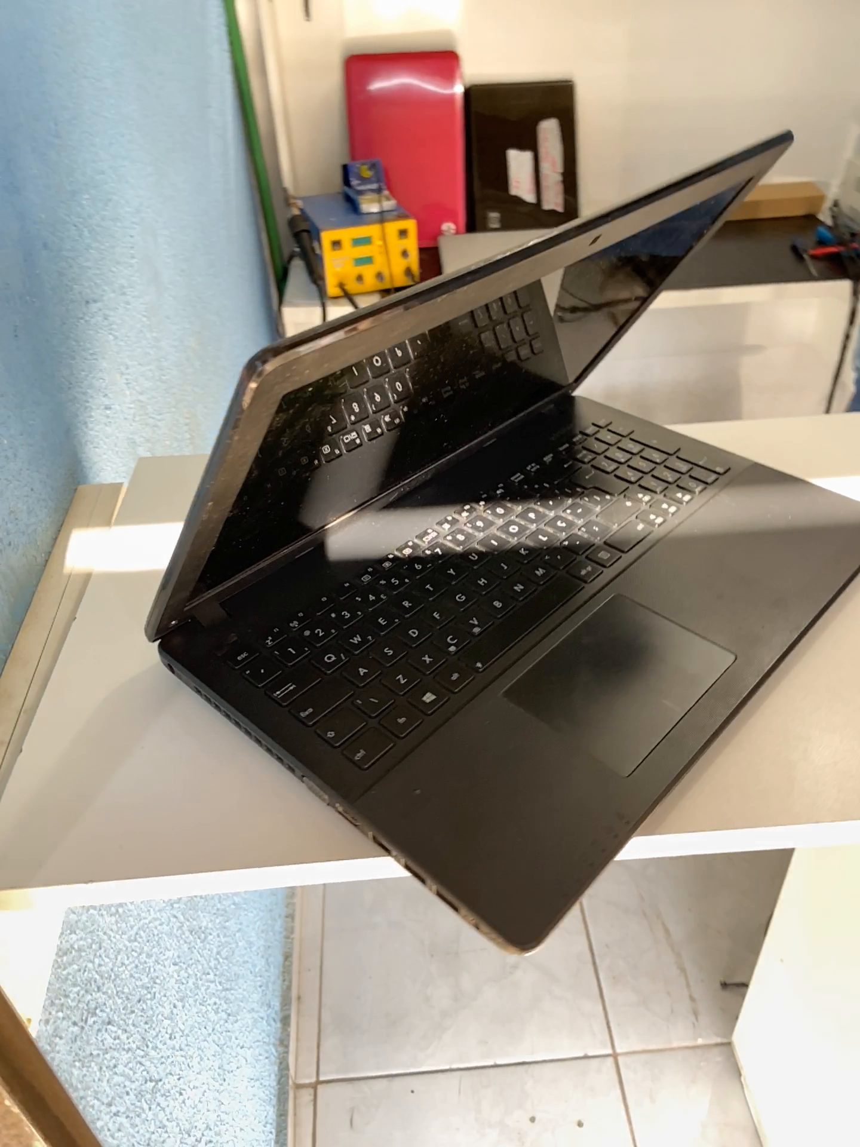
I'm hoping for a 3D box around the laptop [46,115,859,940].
[{"bbox_3d":[0.070,-0.075,0.445,0.239,0.190,0.374,29,48,34],"label":"laptop"}]
